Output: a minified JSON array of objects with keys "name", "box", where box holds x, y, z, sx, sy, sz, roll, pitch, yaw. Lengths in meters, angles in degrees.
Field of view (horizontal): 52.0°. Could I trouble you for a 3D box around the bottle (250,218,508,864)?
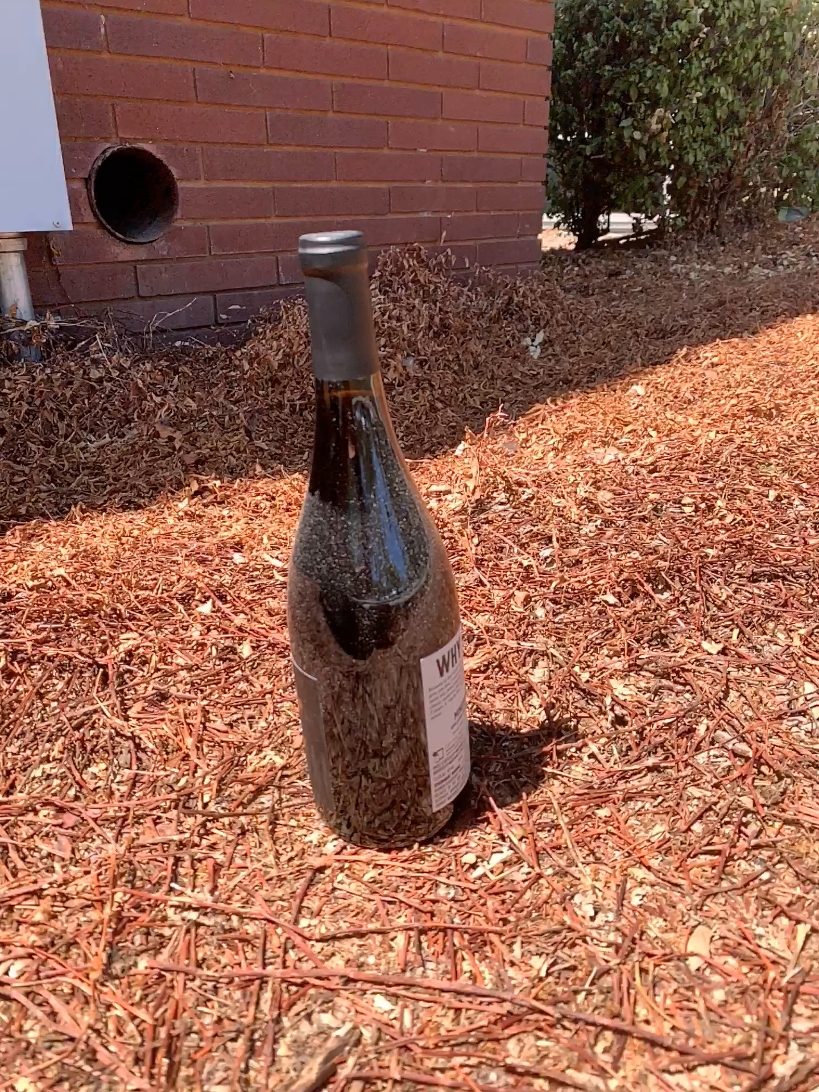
[{"name":"bottle","box":[-0.014,0.000,0.386,0.090,0.279,0.090,0,22,0]}]
